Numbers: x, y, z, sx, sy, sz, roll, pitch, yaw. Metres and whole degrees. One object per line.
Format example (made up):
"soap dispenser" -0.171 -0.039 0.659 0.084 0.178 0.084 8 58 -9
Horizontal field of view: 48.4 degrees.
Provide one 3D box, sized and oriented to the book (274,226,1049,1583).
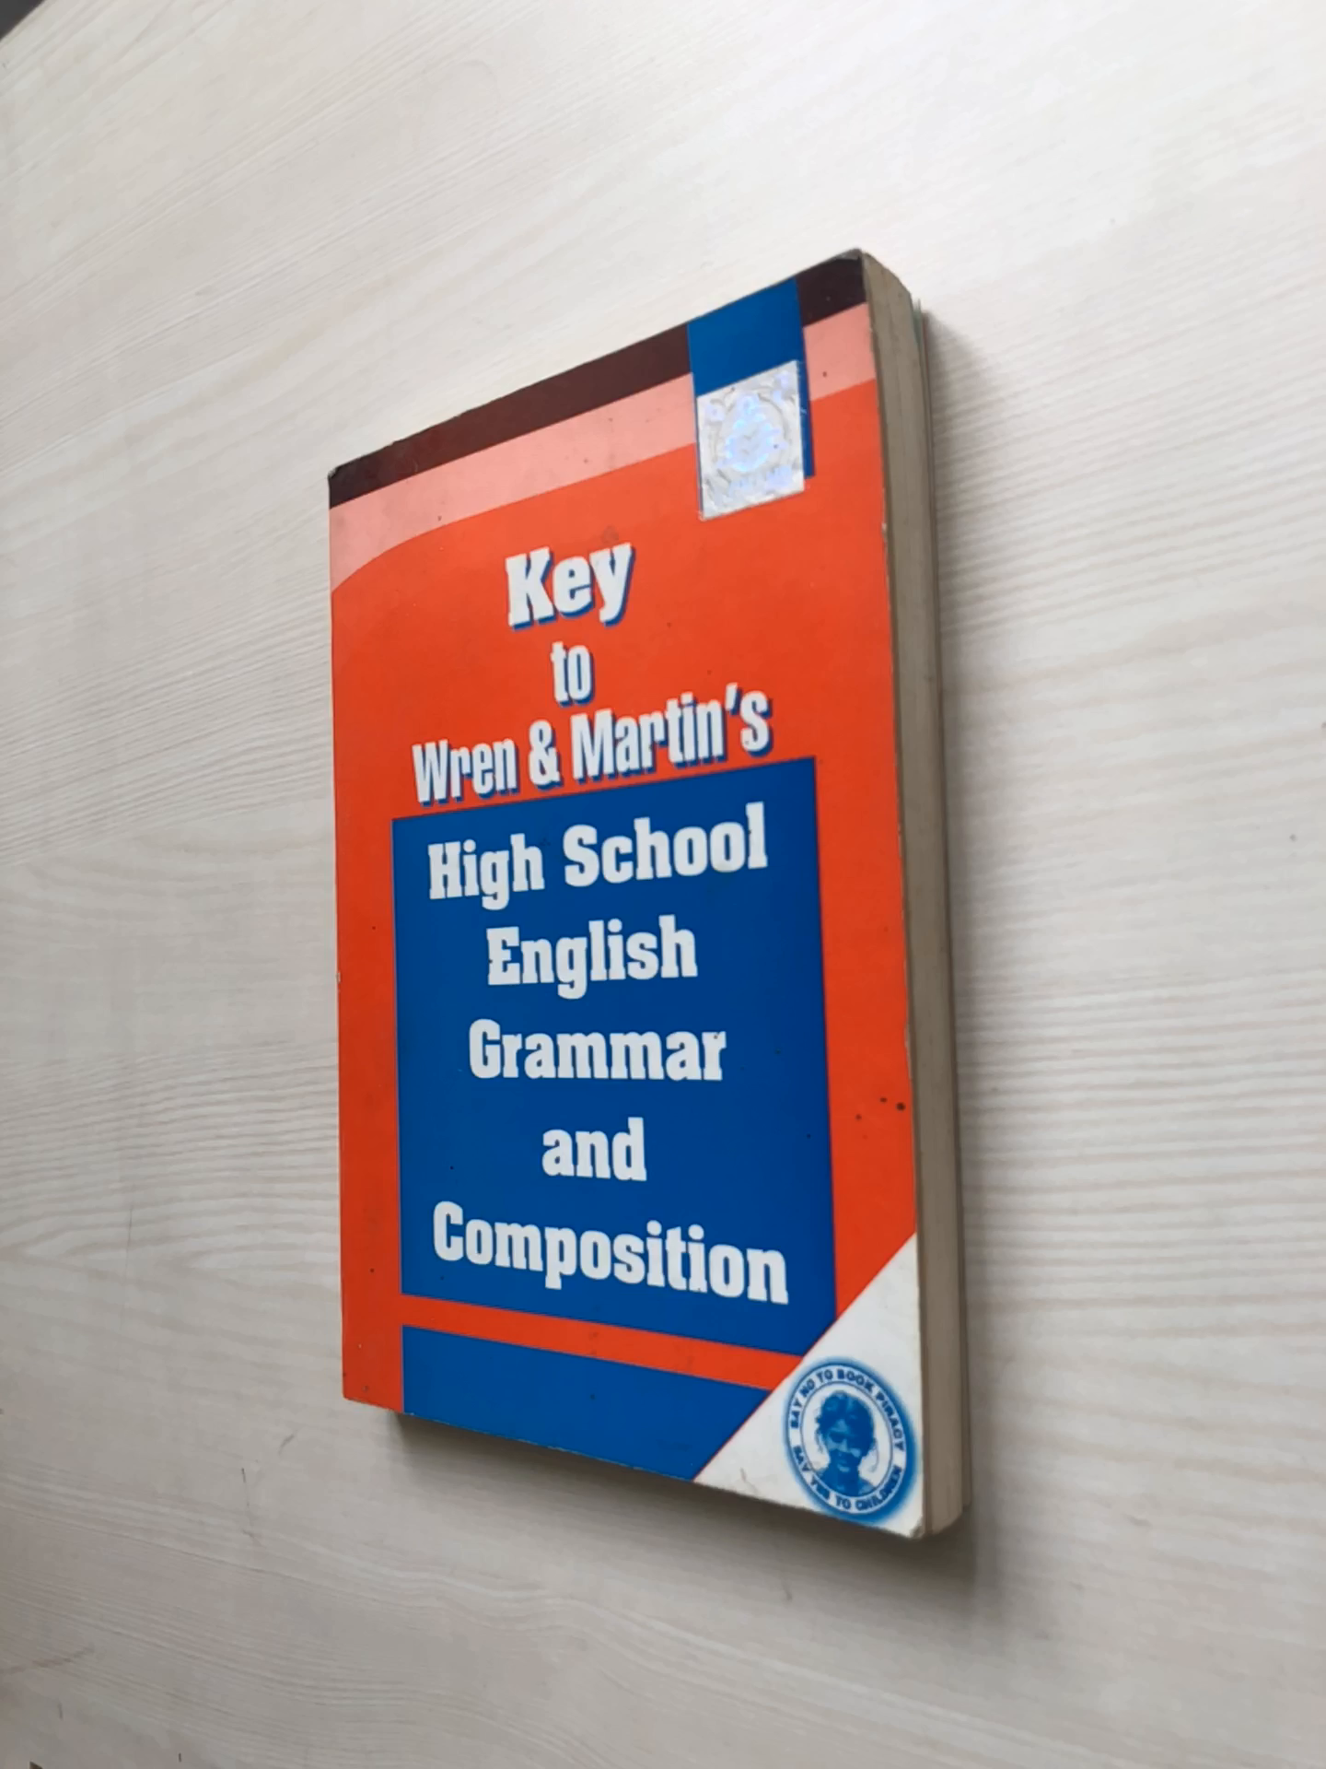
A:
"book" -0.009 0.004 0.237 0.131 0.030 0.170 -4 86 38
